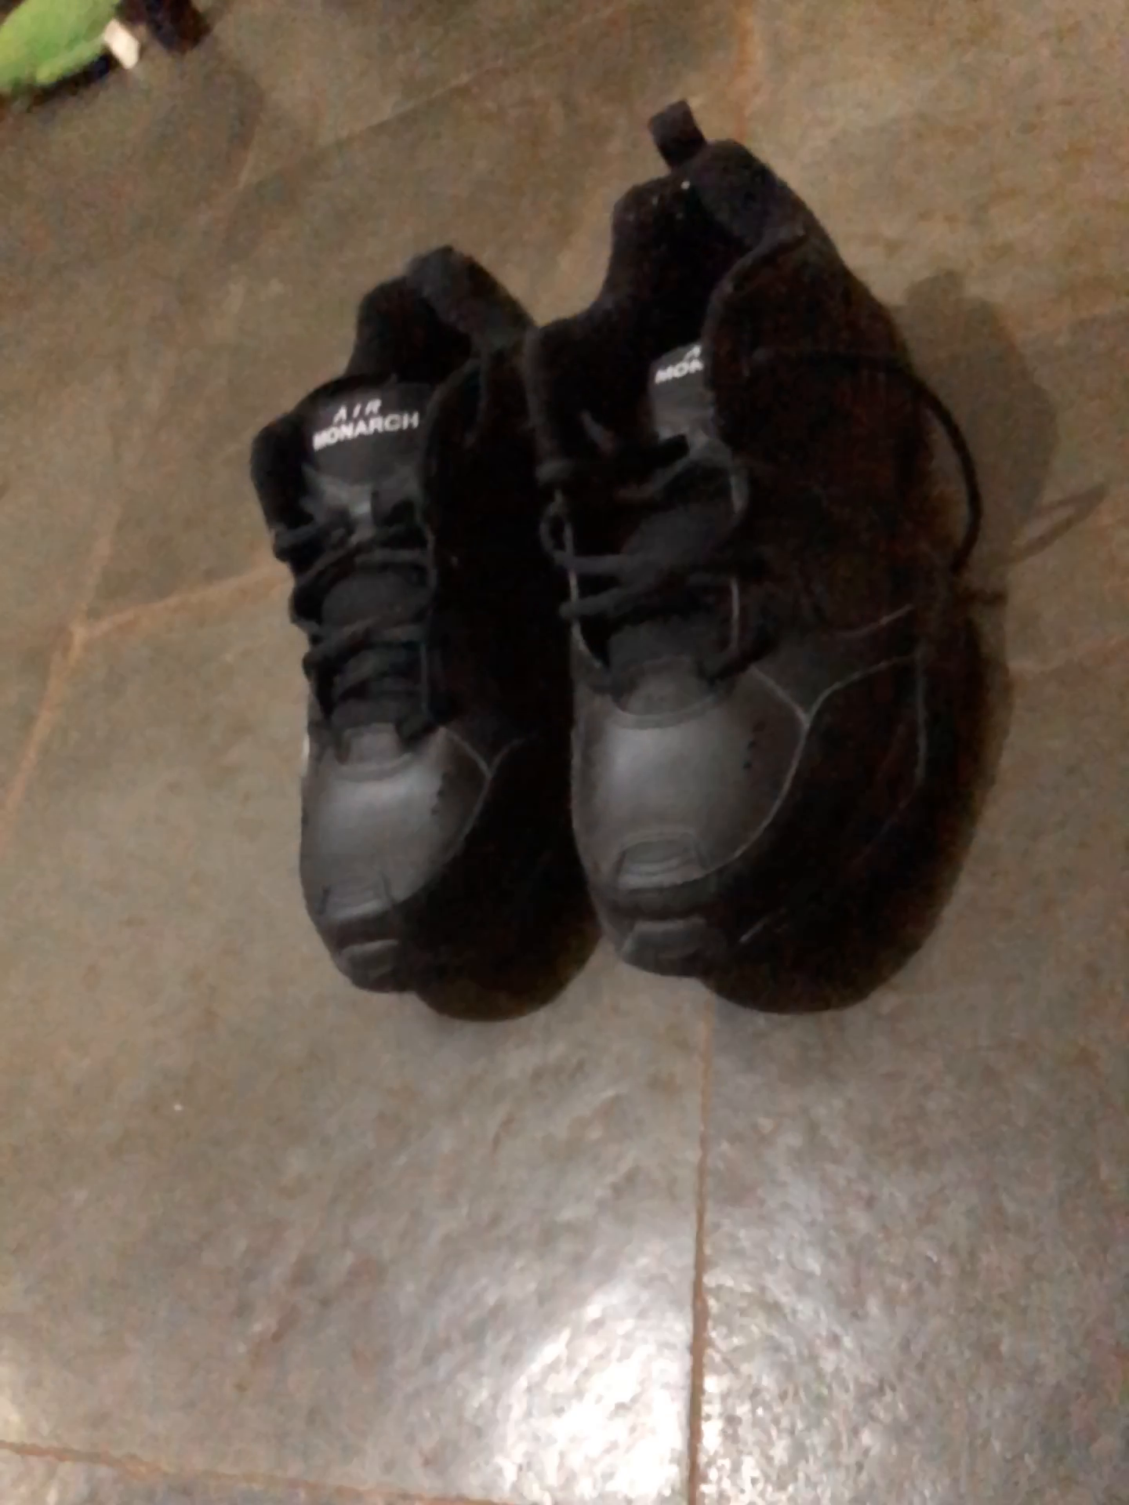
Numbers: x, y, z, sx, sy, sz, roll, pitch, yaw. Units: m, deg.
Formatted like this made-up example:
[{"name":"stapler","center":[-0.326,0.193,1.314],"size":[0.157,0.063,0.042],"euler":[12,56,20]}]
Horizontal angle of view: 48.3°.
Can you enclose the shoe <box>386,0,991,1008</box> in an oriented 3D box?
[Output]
[{"name":"shoe","center":[0.053,-0.085,0.396],"size":[0.120,0.109,0.301],"euler":[-9,55,27]}]

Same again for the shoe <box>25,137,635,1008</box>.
[{"name":"shoe","center":[-0.063,-0.066,0.449],"size":[0.120,0.109,0.281],"euler":[-10,55,27]}]
